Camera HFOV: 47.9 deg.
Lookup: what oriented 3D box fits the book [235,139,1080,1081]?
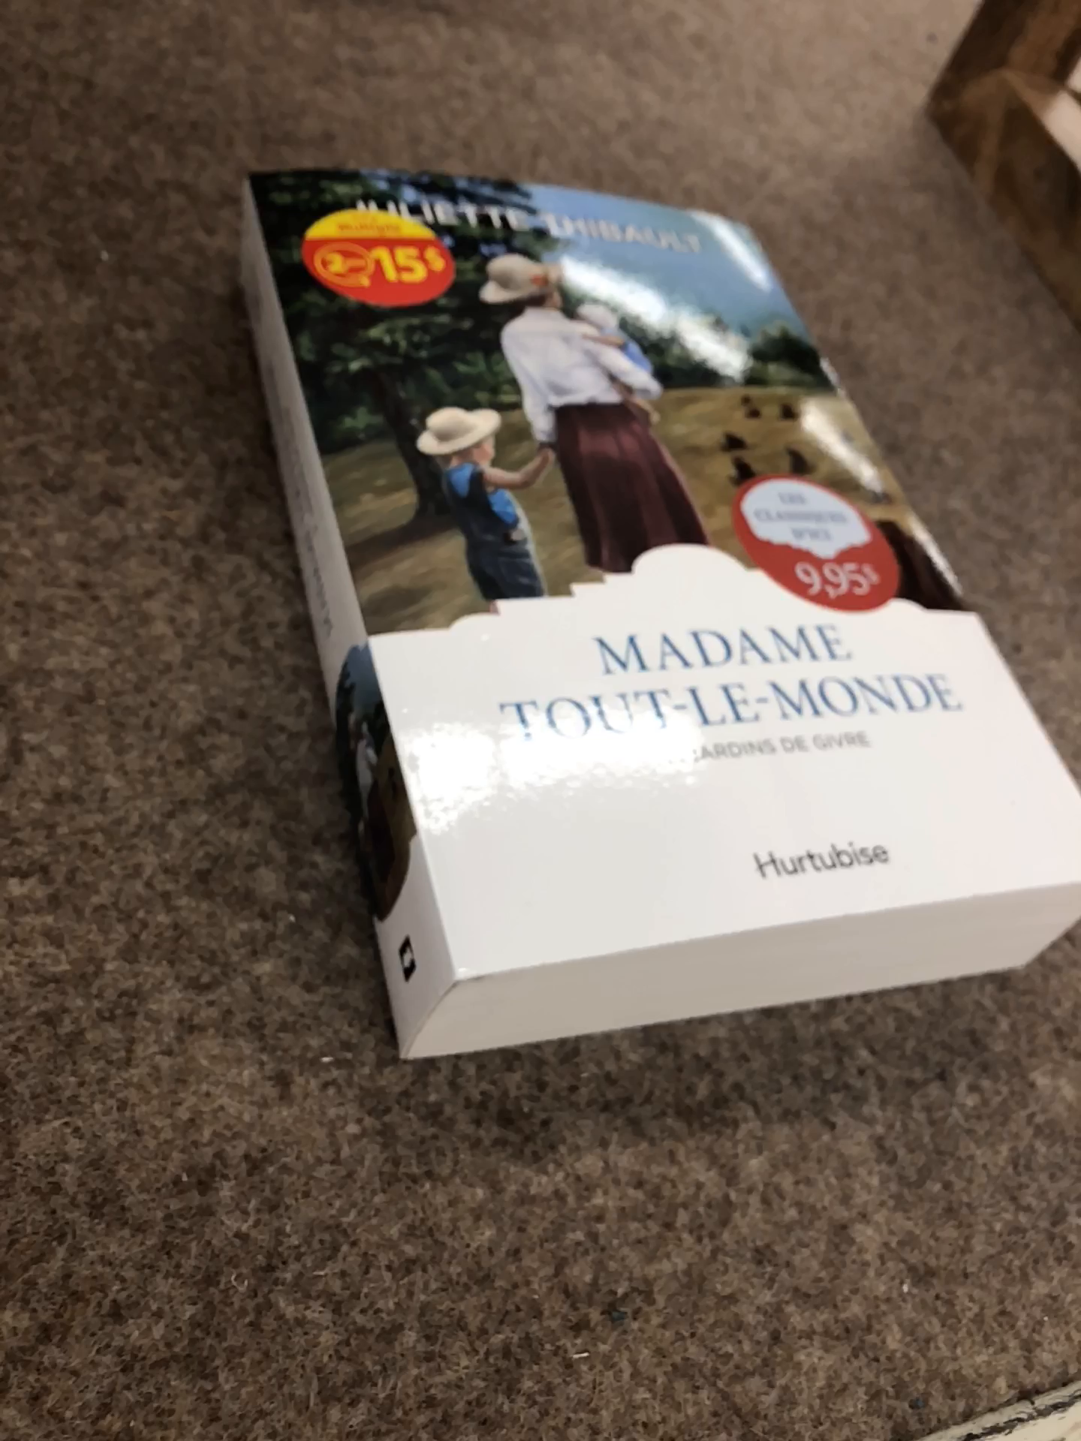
[{"bbox_3d":[0.024,-0.043,0.296,0.160,0.050,0.222,-4,58,-22],"label":"book"}]
